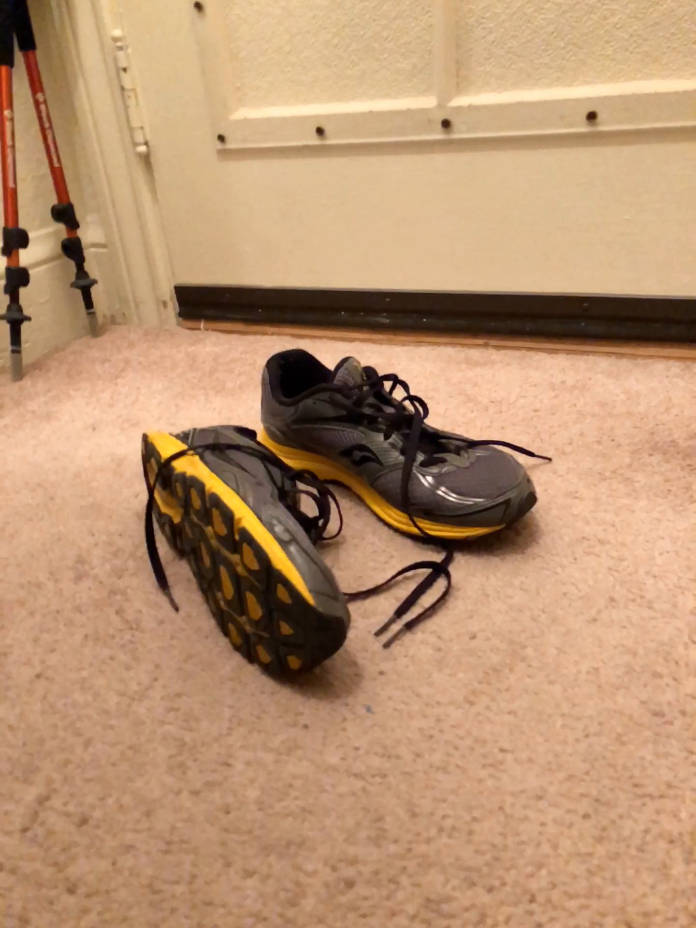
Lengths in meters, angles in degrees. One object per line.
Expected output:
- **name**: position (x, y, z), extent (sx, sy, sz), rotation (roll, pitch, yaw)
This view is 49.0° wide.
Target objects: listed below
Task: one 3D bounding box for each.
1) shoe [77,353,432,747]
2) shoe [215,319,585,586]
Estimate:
- **shoe**: position (-0.079, 0.032, 0.528), extent (0.109, 0.117, 0.294), rotation (-23, 33, -24)
- **shoe**: position (0.029, -0.028, 0.611), extent (0.118, 0.098, 0.284), rotation (-27, 35, -34)
